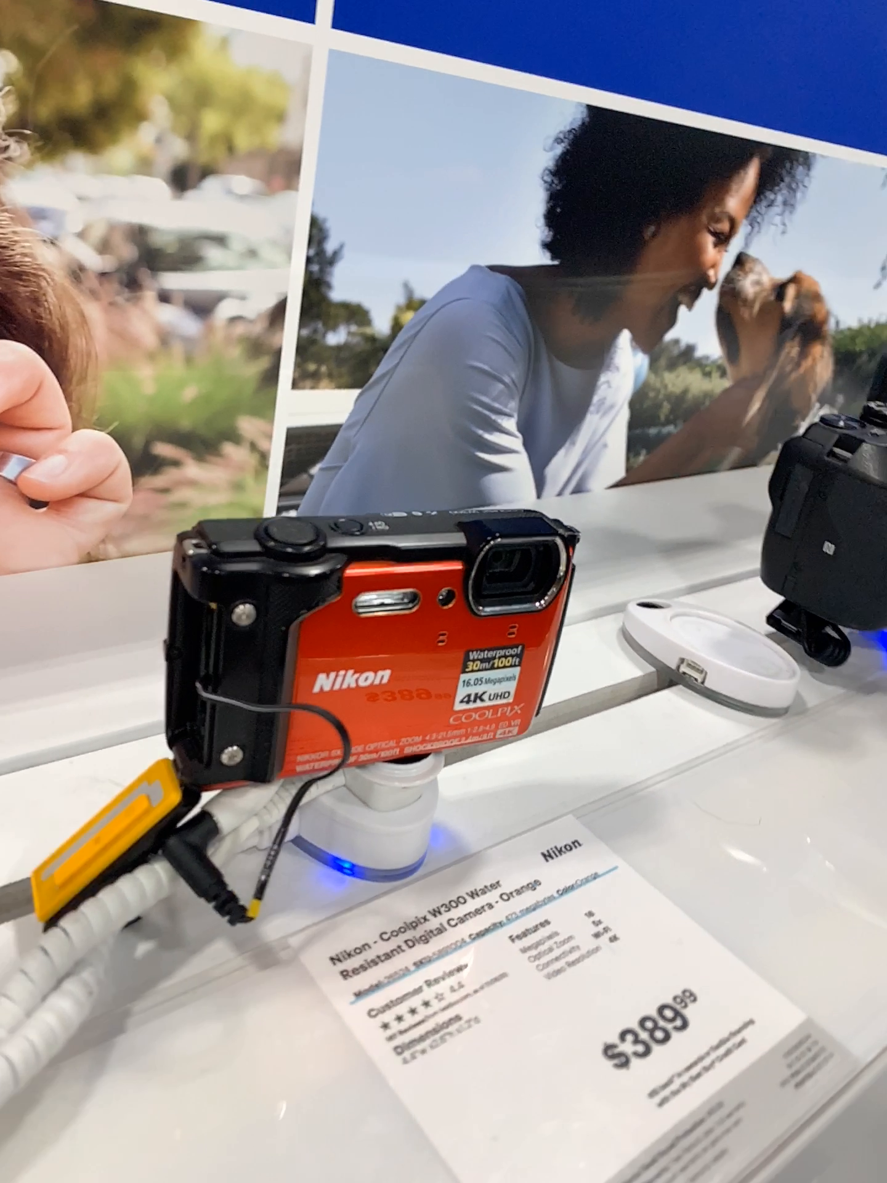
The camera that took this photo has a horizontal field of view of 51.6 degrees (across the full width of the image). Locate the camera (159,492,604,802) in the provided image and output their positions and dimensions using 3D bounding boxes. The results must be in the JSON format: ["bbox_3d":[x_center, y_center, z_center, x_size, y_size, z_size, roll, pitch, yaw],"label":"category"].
[{"bbox_3d":[-0.014,0.010,0.233,0.105,0.063,0.025,-6,30,-31],"label":"camera"}]
